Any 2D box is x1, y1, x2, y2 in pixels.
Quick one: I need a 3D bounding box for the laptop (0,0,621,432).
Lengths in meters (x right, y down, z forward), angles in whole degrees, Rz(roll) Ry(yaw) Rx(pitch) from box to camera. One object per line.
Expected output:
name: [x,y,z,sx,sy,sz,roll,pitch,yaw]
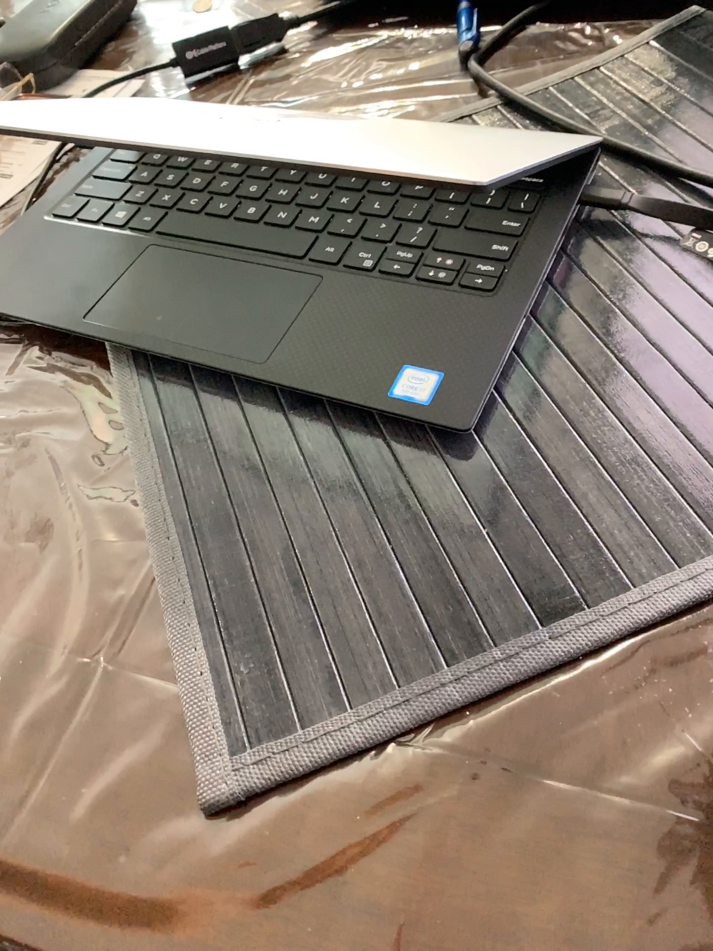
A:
laptop: [-0.055,-0.151,0.338,0.290,0.085,0.185,17,58,23]
